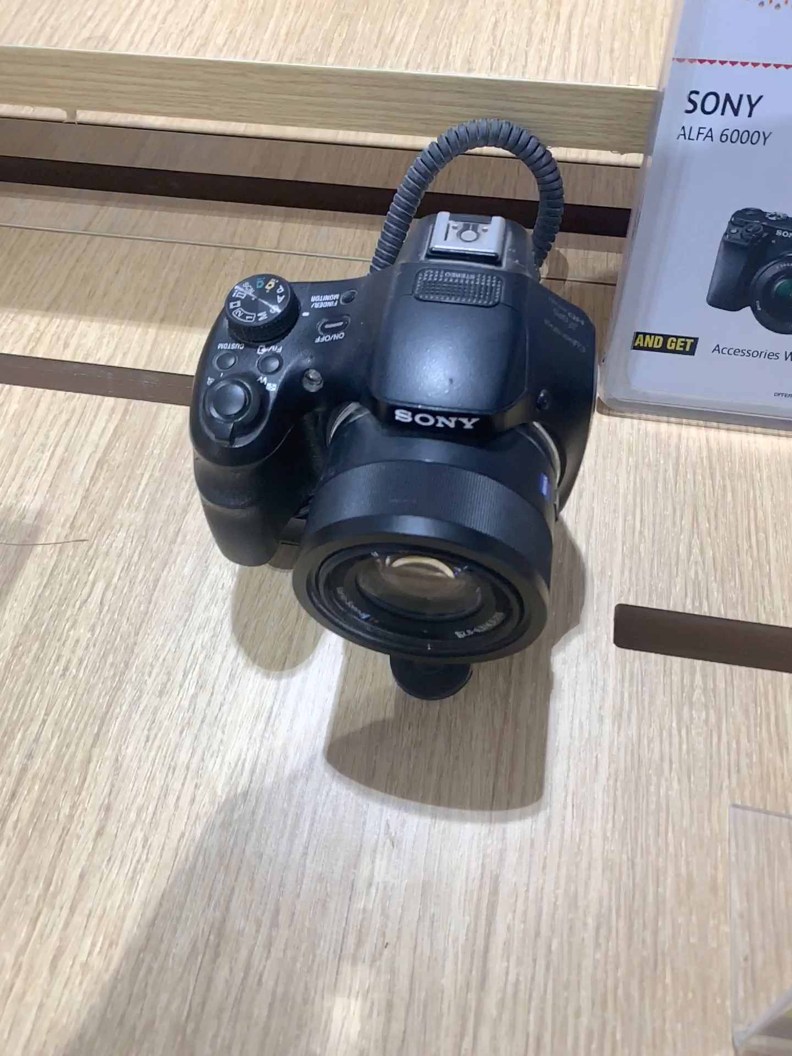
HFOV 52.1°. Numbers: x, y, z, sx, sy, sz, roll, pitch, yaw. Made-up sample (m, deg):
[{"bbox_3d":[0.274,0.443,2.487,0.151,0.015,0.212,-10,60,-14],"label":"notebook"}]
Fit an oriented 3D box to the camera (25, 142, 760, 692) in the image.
[{"bbox_3d":[0.004,-0.026,0.219,0.140,0.100,0.090,7,58,6],"label":"camera"}]
